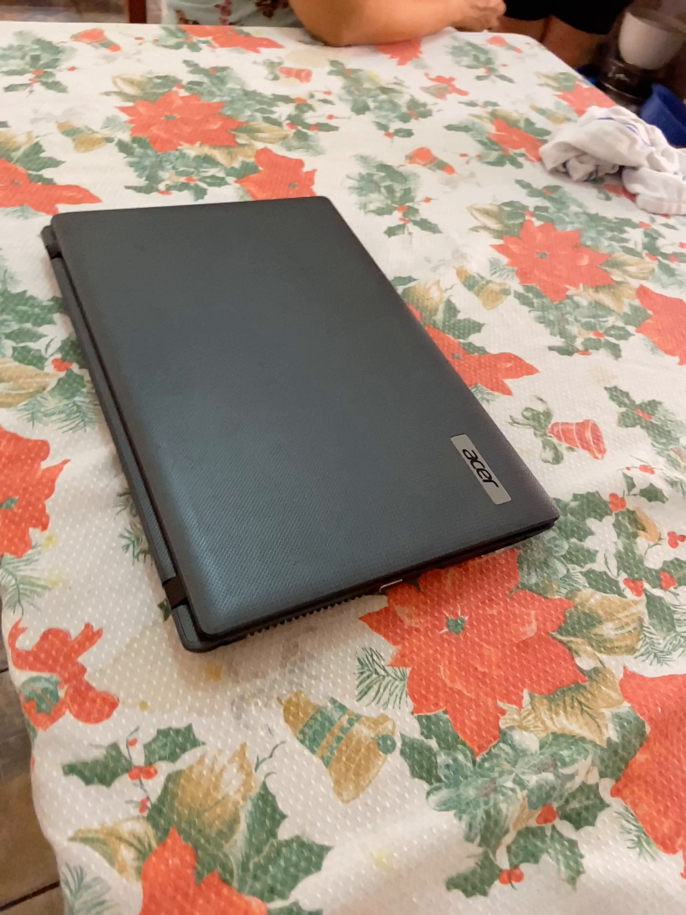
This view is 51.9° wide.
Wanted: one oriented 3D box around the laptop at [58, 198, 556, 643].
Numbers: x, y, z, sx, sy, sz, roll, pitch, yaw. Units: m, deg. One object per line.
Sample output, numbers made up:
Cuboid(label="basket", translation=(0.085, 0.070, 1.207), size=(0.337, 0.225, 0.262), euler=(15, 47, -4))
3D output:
Cuboid(label="laptop", translation=(-0.041, -0.068, 0.480), size=(0.223, 0.001, 0.351), euler=(-14, 56, -23))
